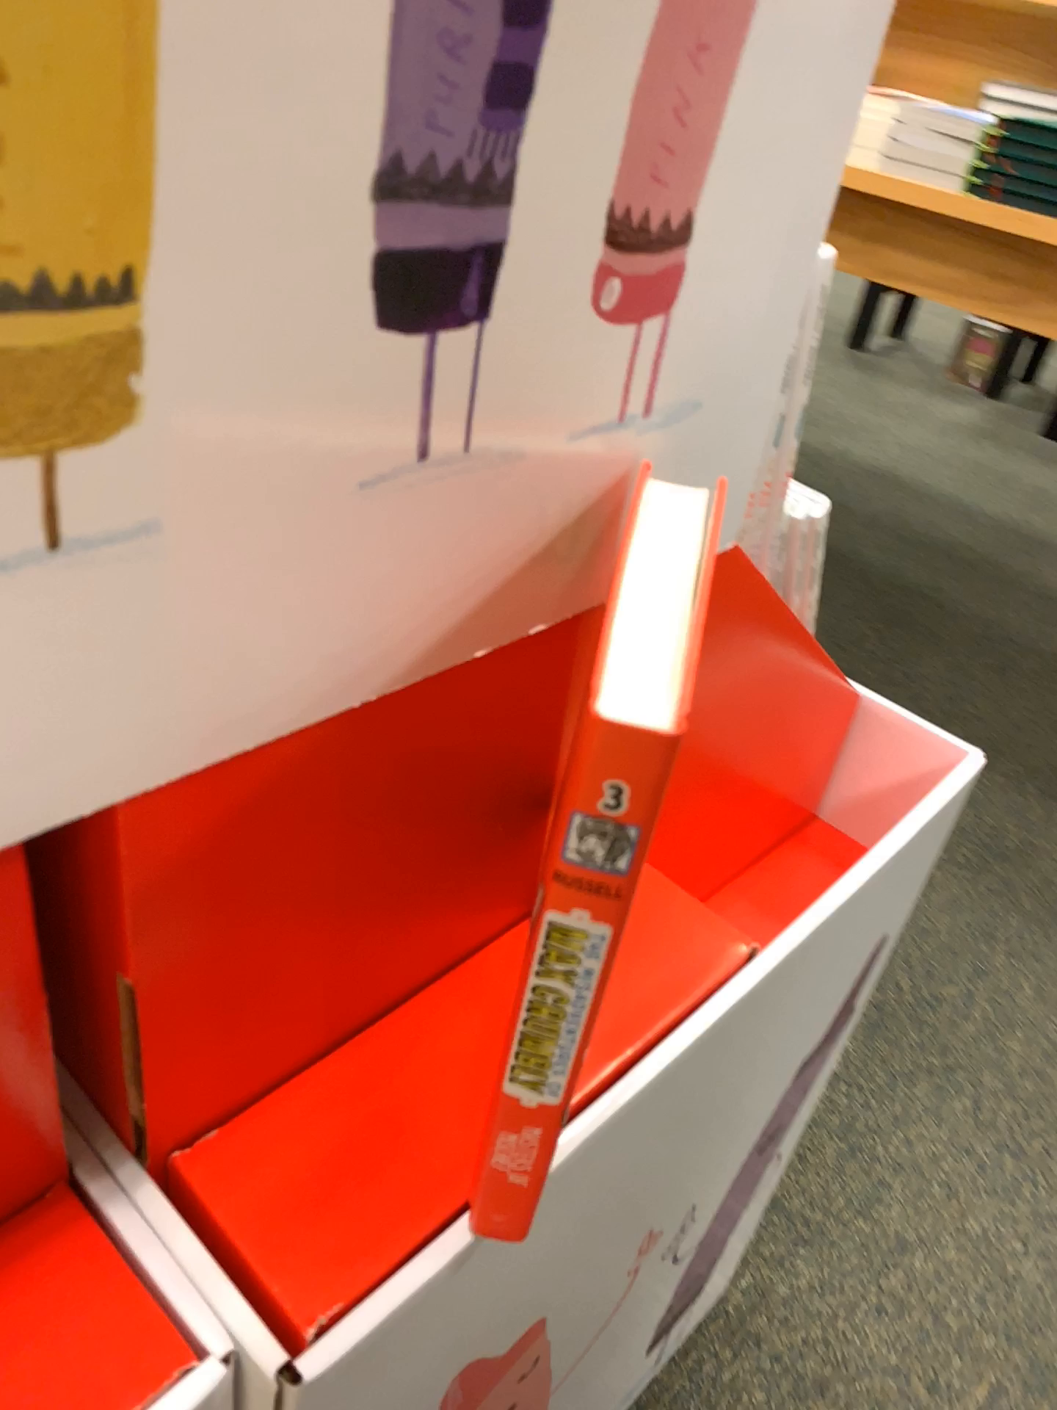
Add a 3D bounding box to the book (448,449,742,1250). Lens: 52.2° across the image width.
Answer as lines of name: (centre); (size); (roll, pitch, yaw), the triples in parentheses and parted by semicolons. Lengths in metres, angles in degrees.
book: (0.019, 0.044, 0.334); (0.030, 0.201, 0.143); (14, 34, 1)
